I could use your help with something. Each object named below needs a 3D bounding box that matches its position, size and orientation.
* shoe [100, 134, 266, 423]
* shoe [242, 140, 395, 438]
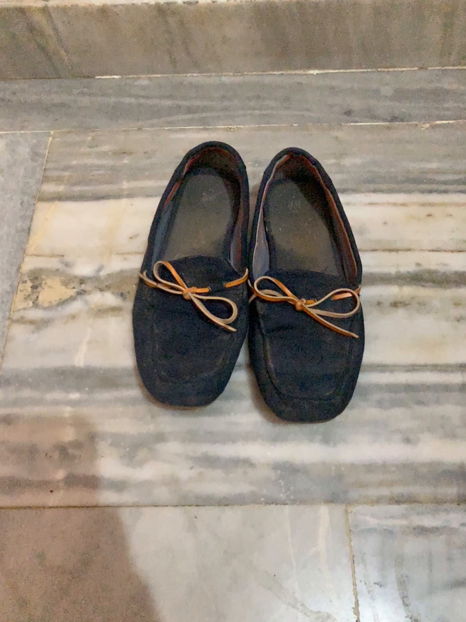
[{"bbox_3d":[-0.035,-0.042,0.467,0.120,0.070,0.280,3,64,2],"label":"shoe"},{"bbox_3d":[0.069,-0.033,0.474,0.120,0.070,0.300,0,63,1],"label":"shoe"}]
